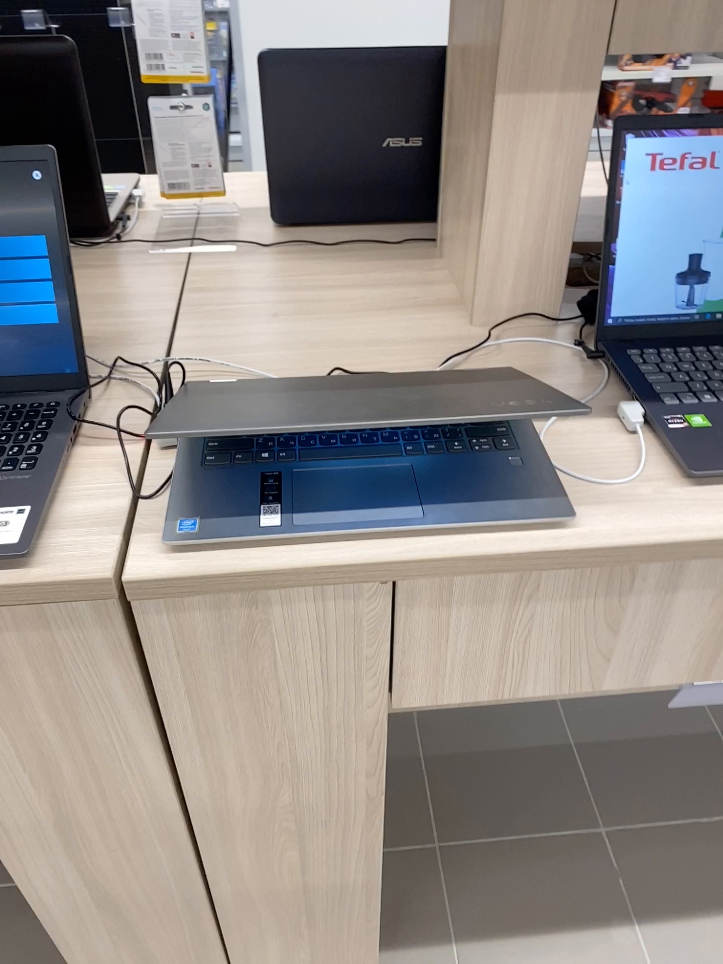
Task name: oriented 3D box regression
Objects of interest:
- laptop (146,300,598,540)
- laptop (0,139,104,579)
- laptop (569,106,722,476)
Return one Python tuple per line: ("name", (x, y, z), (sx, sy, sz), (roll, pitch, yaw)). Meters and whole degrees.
("laptop", (0.002, -0.065, 0.637), (0.325, 0.082, 0.219), (-3, 39, -4))
("laptop", (-0.437, -0.119, 0.588), (0.352, 0.212, 0.309), (-3, 38, -4))
("laptop", (0.459, -0.199, 0.699), (0.389, 0.215, 0.304), (-4, 39, -7))
